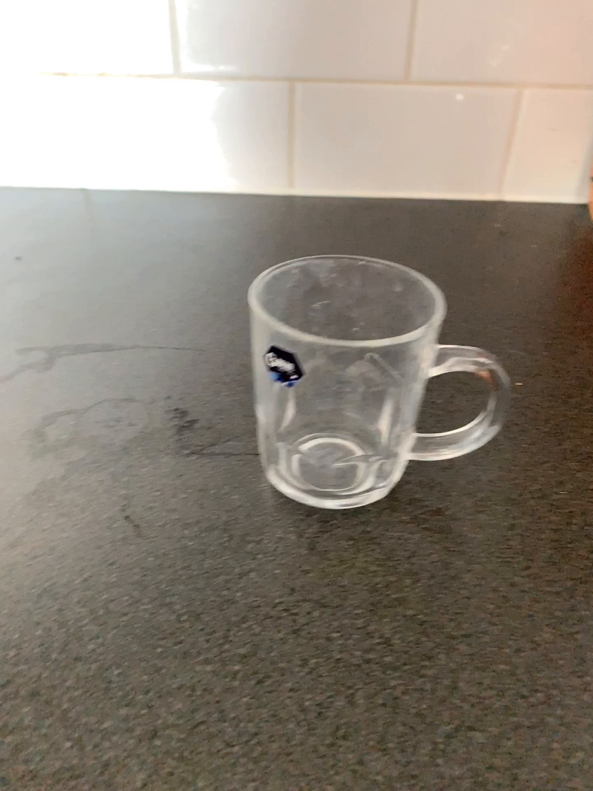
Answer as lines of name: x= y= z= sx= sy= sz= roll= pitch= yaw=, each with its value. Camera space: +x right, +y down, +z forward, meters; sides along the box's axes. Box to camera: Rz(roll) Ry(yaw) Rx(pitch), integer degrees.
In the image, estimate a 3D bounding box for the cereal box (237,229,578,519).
cereal box: x=0.035 y=-0.010 z=0.256 sx=0.110 sy=0.089 sz=0.081 roll=1 pitch=35 yaw=-1
